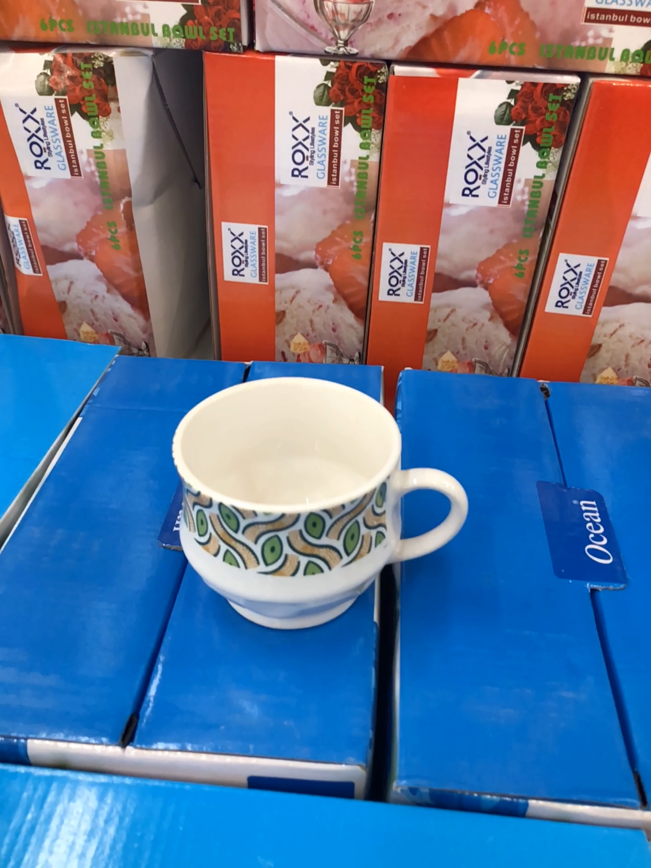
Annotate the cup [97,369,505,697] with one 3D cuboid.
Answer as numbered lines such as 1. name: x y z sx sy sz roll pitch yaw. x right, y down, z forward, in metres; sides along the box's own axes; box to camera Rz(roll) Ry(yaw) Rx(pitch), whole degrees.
1. cup: -0.005 0.028 0.223 0.100 0.060 0.070 4 38 2
